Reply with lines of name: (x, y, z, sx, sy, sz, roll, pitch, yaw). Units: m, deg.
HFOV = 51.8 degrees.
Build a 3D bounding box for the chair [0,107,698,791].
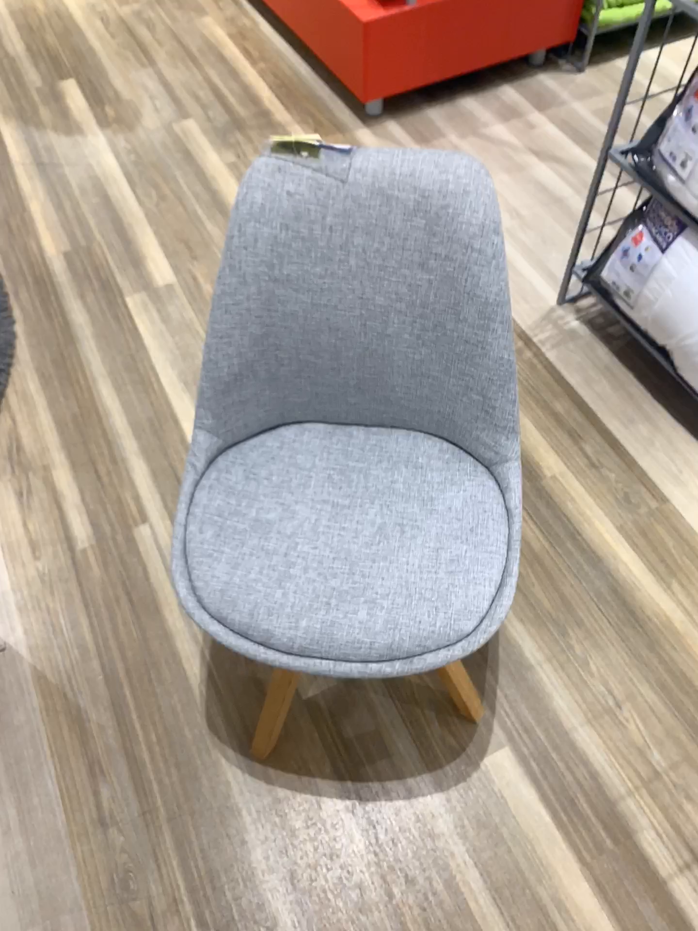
chair: (0.021, 0.068, 1.001, 0.513, 0.857, 0.517, 4, 56, 4)
